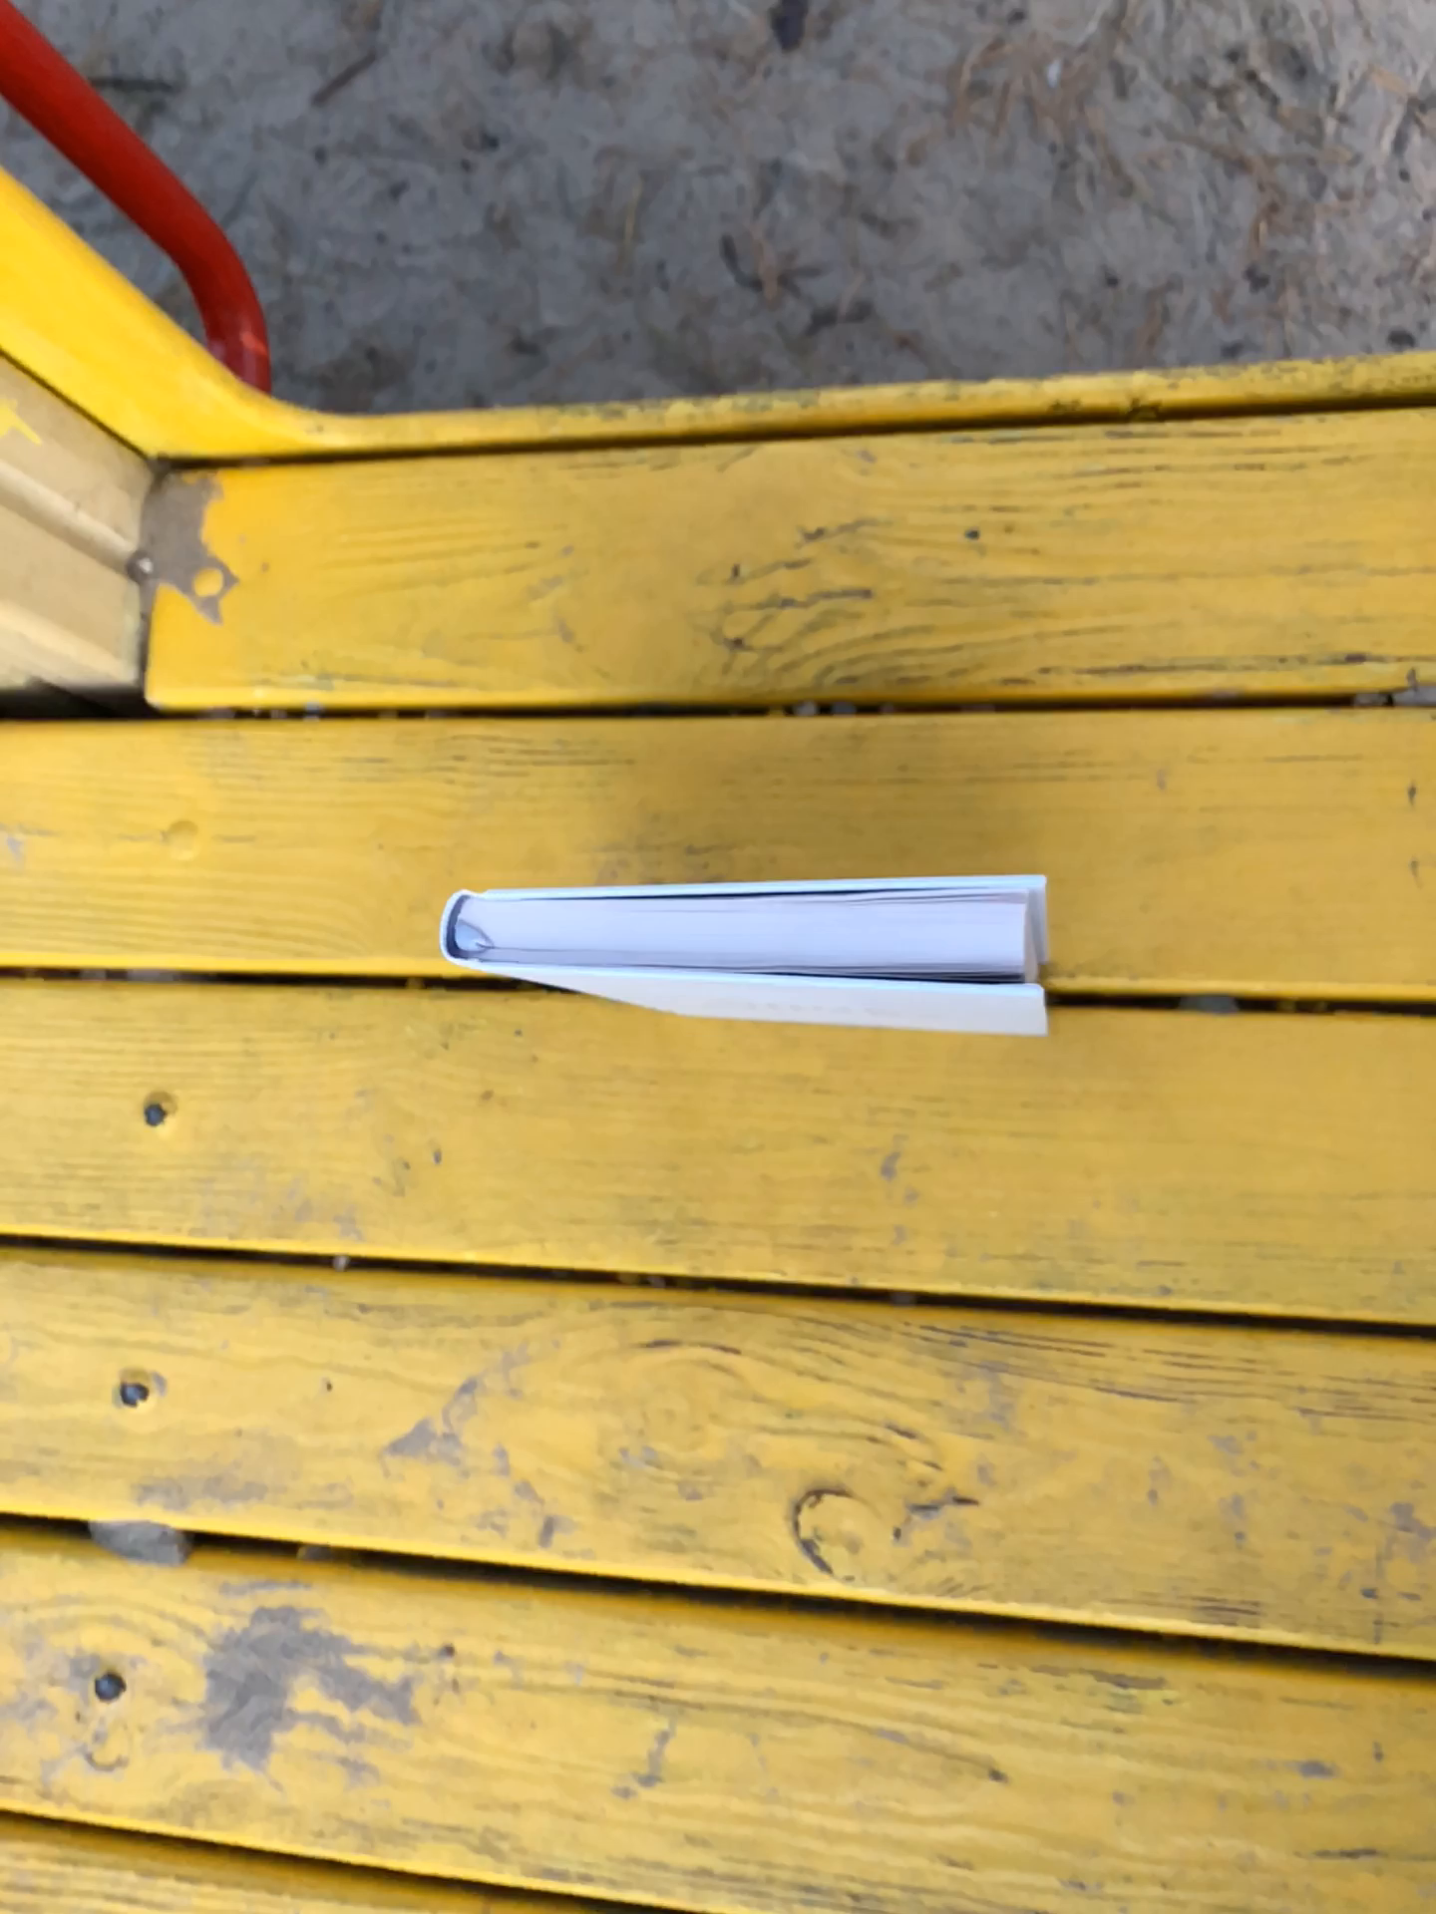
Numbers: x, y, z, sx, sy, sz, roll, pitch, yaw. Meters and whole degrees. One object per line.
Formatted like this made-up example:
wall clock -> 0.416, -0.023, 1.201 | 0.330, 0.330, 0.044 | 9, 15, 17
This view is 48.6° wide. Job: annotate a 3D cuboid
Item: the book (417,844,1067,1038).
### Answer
book -> 0.025, 0.000, 0.475 | 0.154, 0.210, 0.030 | 3, 86, 13
